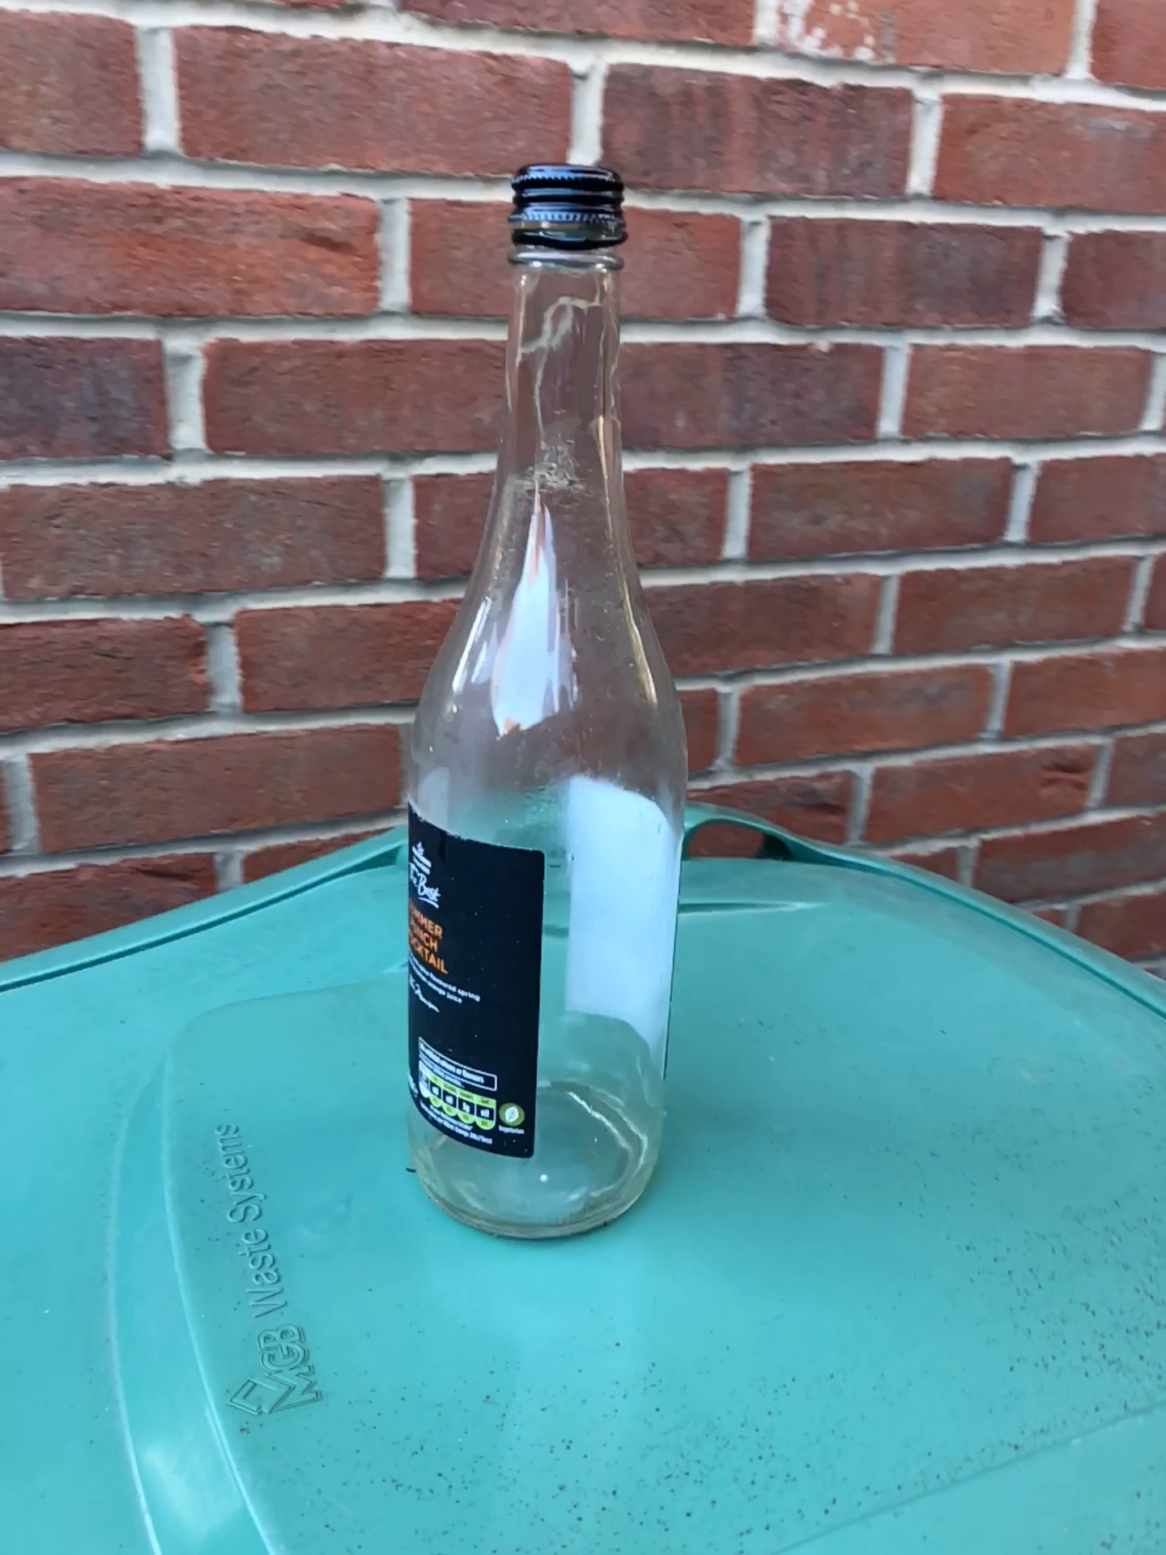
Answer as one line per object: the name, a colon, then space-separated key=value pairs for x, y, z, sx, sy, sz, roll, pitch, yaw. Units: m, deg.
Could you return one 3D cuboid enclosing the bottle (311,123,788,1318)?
bottle: x=-0.015 y=-0.011 z=0.351 sx=0.080 sy=0.288 sz=0.090 roll=-9 pitch=23 yaw=-27
